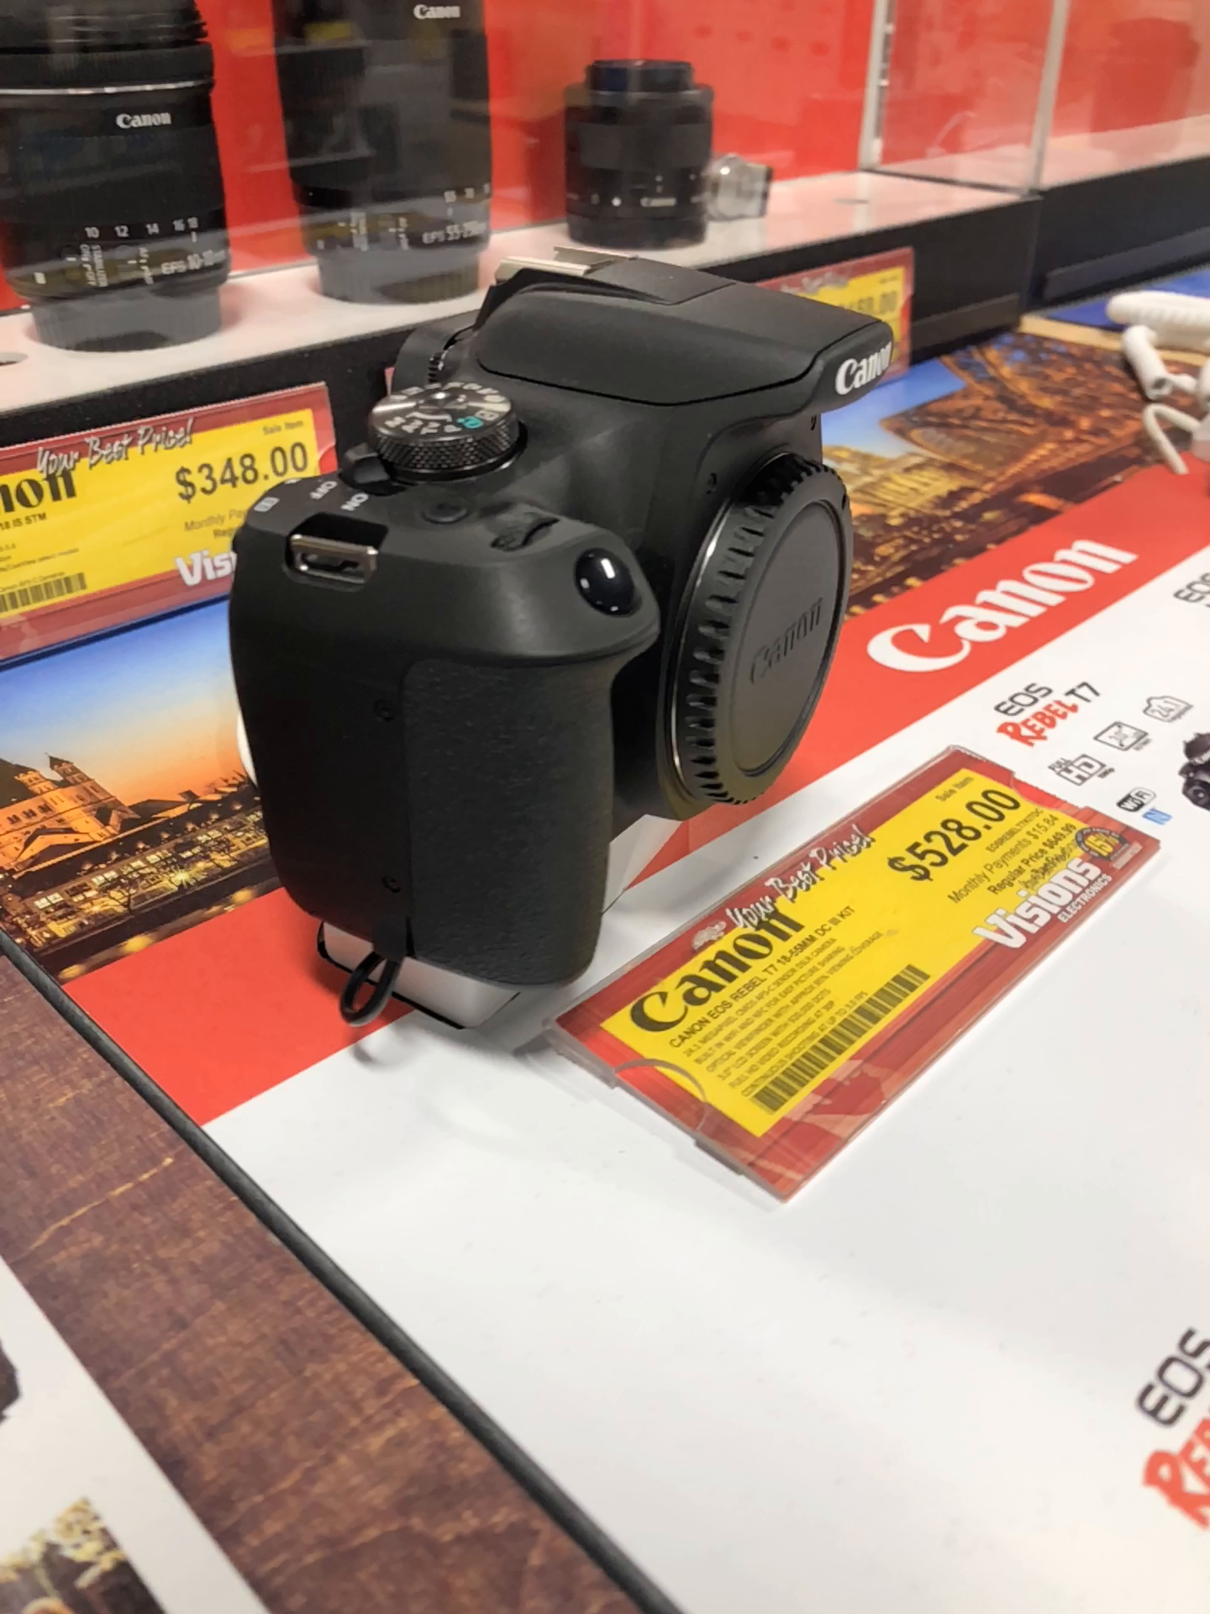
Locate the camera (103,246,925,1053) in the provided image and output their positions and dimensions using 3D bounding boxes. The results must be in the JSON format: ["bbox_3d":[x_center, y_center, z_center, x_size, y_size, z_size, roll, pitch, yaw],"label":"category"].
[{"bbox_3d":[-0.005,-0.041,0.246,0.080,0.089,0.131,16,35,24],"label":"camera"}]
